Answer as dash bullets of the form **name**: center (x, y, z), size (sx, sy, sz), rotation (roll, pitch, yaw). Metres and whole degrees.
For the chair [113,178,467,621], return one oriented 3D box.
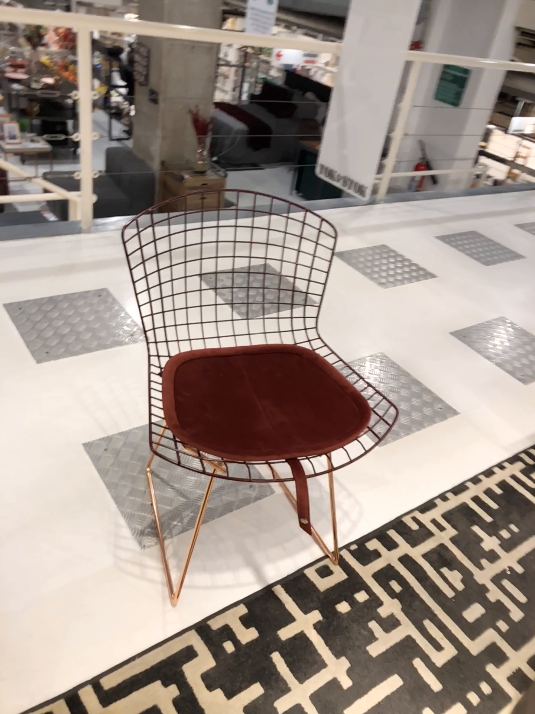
- **chair**: center (-0.040, 0.077, 1.309), size (0.511, 0.764, 0.503), rotation (-4, 36, -22)
